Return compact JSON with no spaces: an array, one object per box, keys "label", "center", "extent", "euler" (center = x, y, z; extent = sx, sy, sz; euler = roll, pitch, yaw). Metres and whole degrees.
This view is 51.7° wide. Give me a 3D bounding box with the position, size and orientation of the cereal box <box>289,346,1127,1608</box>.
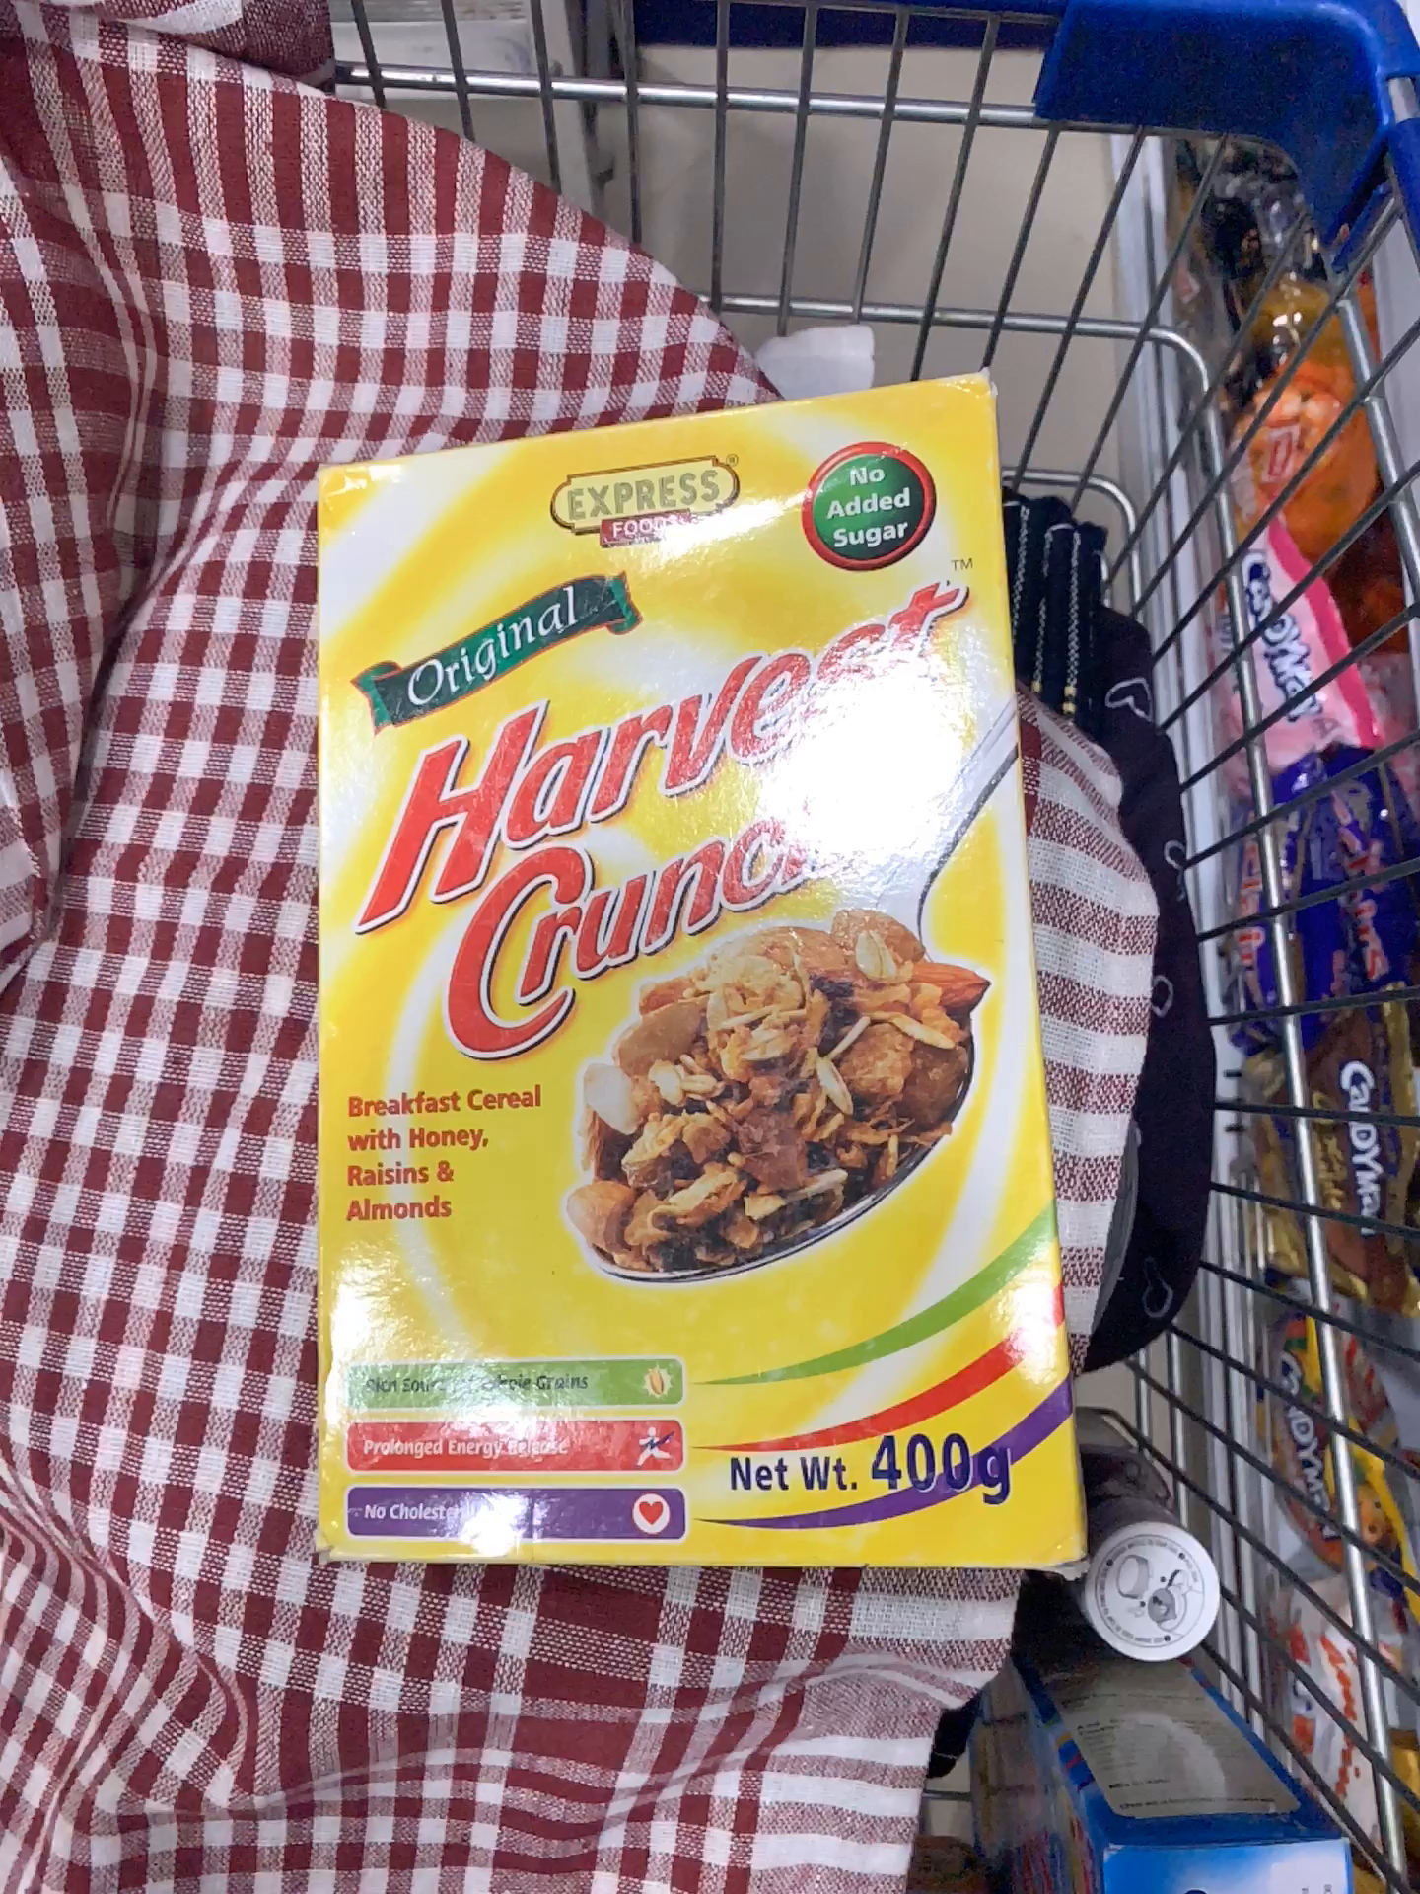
[{"label":"cereal box","center":[-0.003,0.007,0.295],"extent":[0.150,0.050,0.220],"euler":[-4,83,13]}]
